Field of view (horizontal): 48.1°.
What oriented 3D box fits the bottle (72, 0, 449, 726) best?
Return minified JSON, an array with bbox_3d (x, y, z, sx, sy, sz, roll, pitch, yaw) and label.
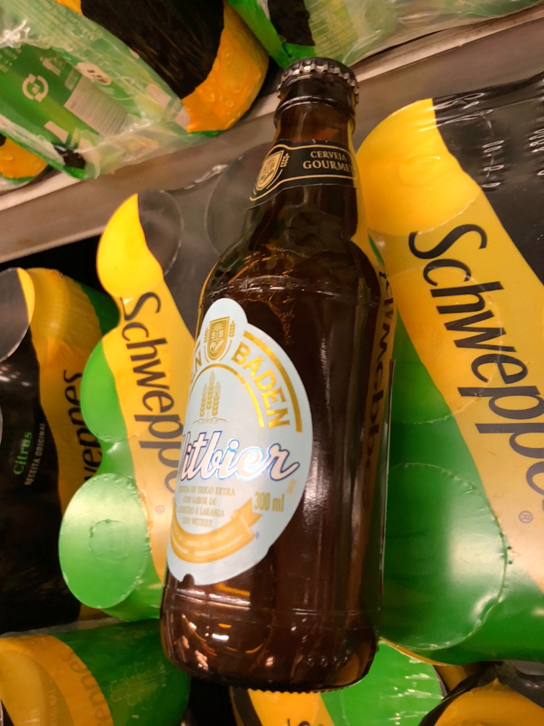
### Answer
[{"bbox_3d":[0.004,-0.019,0.175,0.070,0.060,0.200,-2,78,33],"label":"bottle"}]
